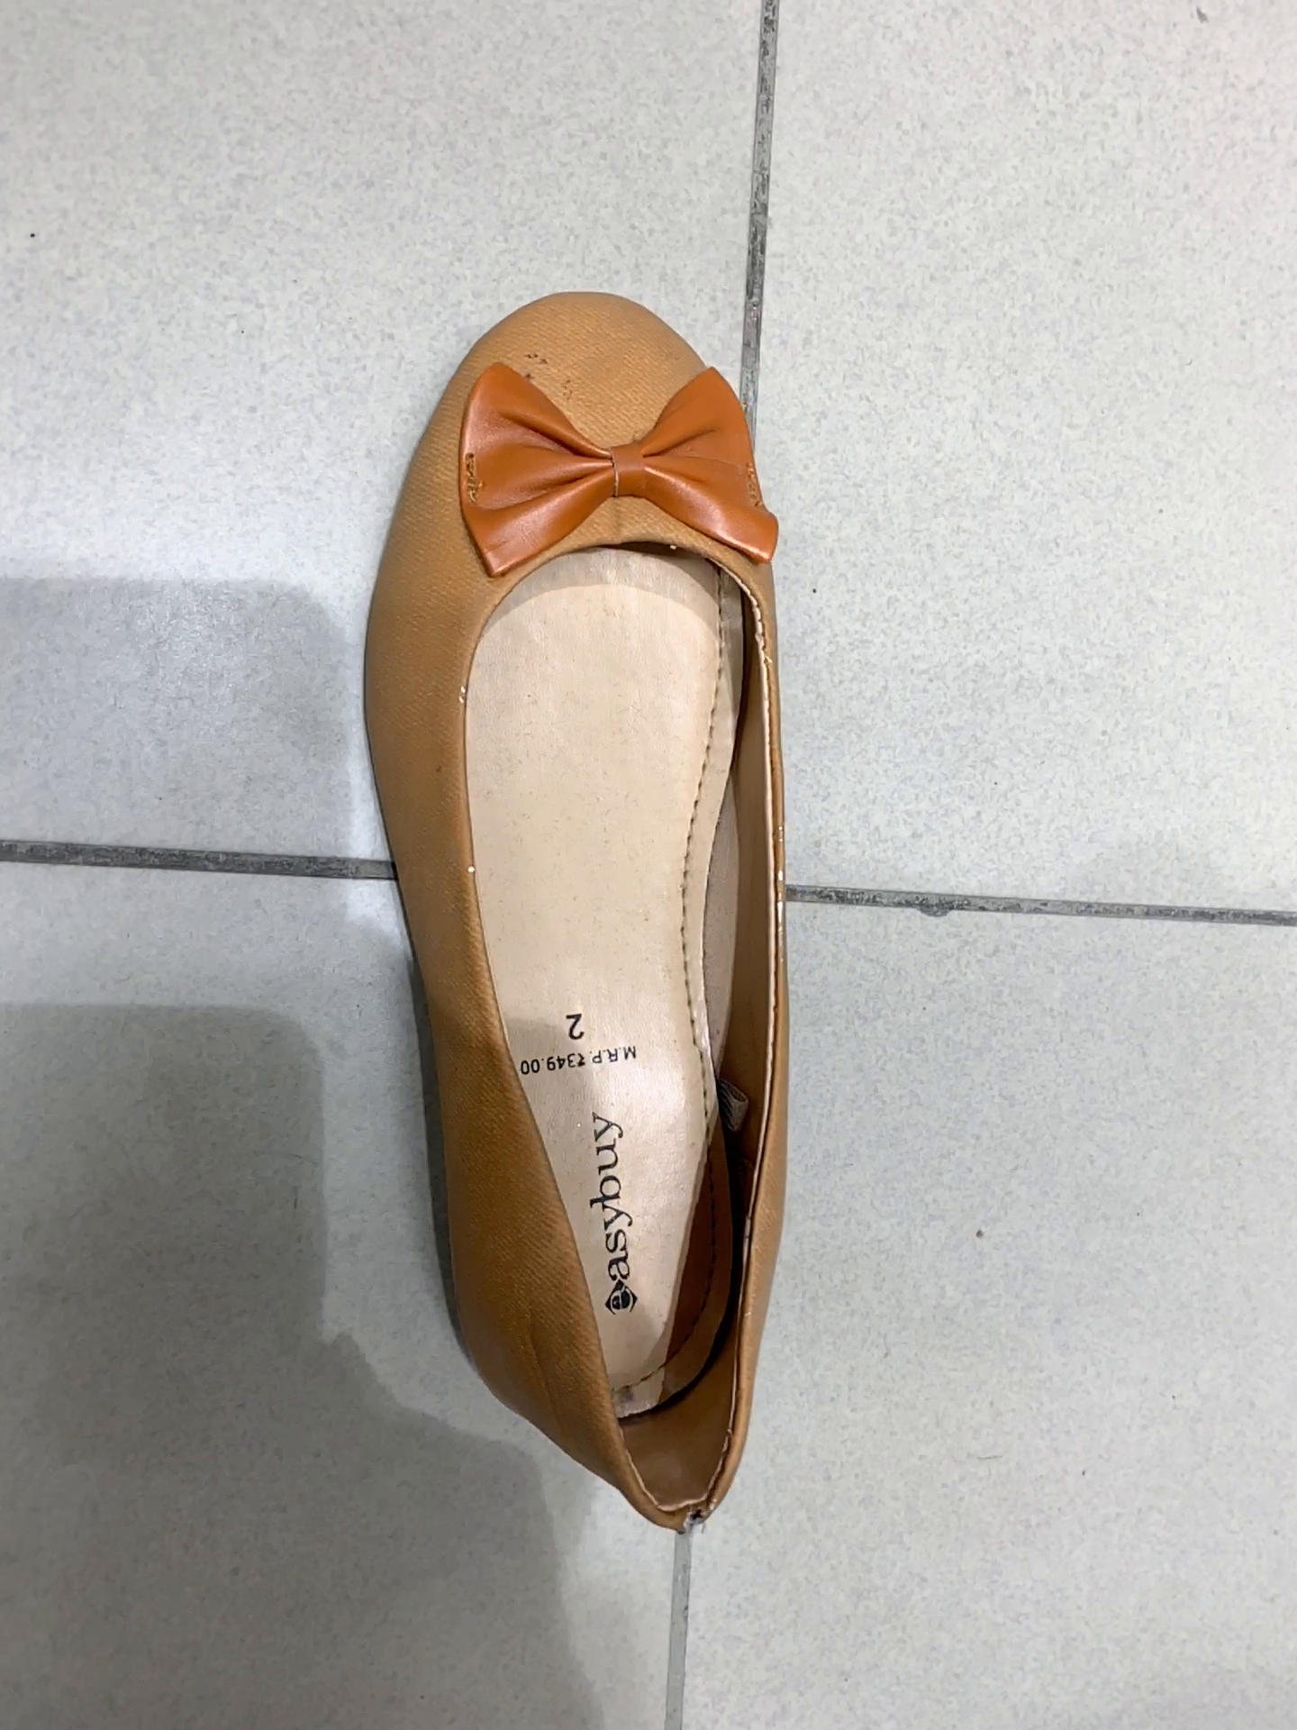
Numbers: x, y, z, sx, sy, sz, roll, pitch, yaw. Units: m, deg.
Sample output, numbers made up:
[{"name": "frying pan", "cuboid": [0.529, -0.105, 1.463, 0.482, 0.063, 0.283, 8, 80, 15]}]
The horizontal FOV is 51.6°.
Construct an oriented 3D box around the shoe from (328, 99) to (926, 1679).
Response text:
[{"name": "shoe", "cuboid": [-0.009, 0.005, 0.232, 0.080, 0.070, 0.220, 1, 91, -18]}]
